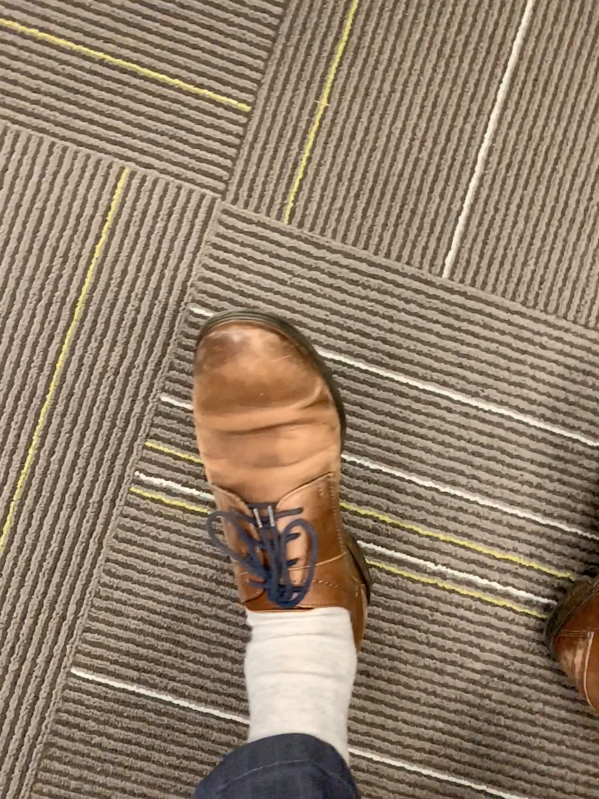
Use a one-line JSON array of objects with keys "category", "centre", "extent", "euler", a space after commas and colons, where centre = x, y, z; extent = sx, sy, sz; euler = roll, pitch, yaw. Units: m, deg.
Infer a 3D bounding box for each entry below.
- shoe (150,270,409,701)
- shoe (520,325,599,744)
[{"category": "shoe", "centre": [0.000, 0.064, 0.411], "extent": [0.120, 0.084, 0.272], "euler": [-5, 111, 8]}, {"category": "shoe", "centre": [0.275, 0.102, 0.429], "extent": [0.103, 0.074, 0.282], "euler": [11, 109, -23]}]
